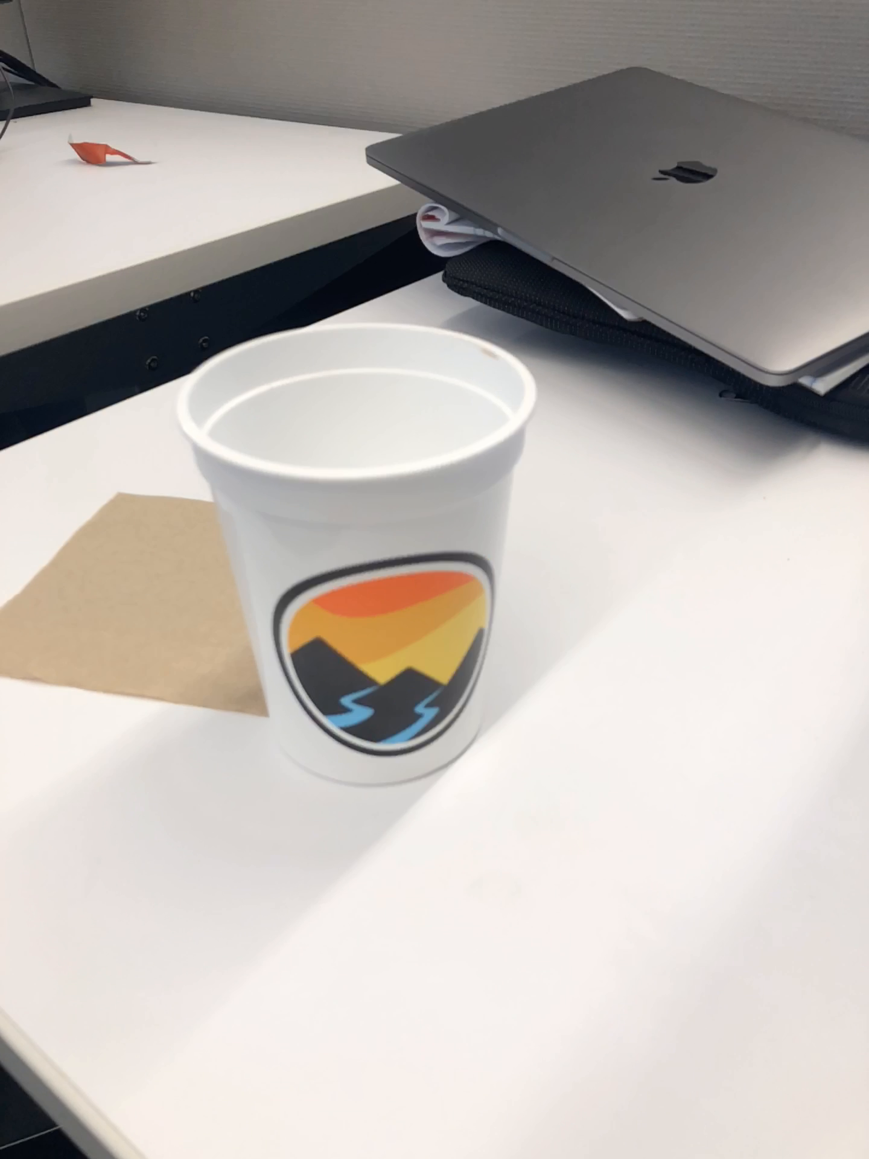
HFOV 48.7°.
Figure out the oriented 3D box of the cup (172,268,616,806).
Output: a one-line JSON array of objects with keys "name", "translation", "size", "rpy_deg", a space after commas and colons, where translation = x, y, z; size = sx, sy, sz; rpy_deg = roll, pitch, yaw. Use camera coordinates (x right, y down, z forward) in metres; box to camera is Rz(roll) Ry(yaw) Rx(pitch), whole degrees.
[{"name": "cup", "translation": [-0.015, -0.016, 0.255], "size": [0.090, 0.099, 0.090], "rpy_deg": [-1, 33, 1]}]
